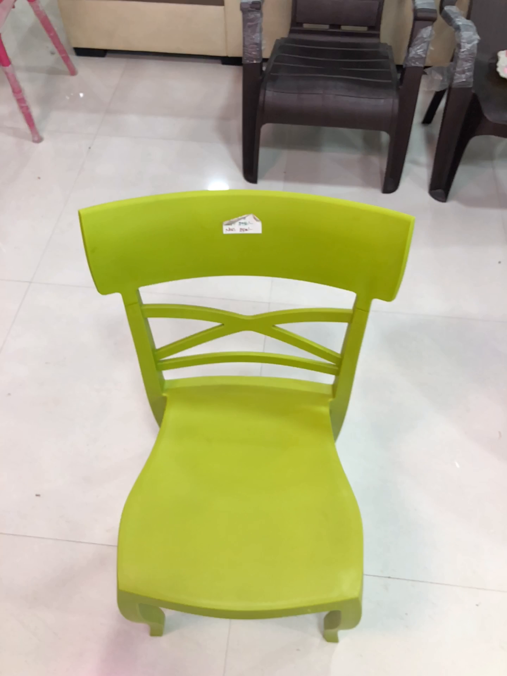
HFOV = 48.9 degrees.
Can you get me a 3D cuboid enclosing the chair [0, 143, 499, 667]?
[{"bbox_3d":[-0.014,0.189,1.004,0.500,0.807,0.613,2,55,2],"label":"chair"}]
